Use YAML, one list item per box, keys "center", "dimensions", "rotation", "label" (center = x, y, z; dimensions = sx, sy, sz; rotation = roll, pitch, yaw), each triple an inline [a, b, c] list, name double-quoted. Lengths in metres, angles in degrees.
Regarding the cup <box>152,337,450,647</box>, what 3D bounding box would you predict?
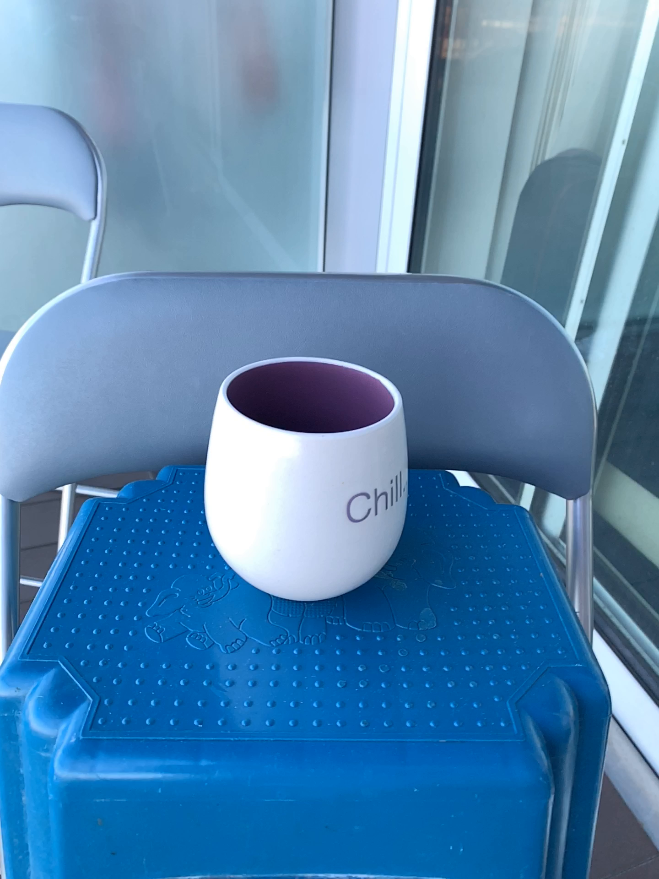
- center: [-0.012, 0.018, 0.355]
  dimensions: [0.105, 0.090, 0.111]
  rotation: [4, 30, -2]
  label: "cup"
